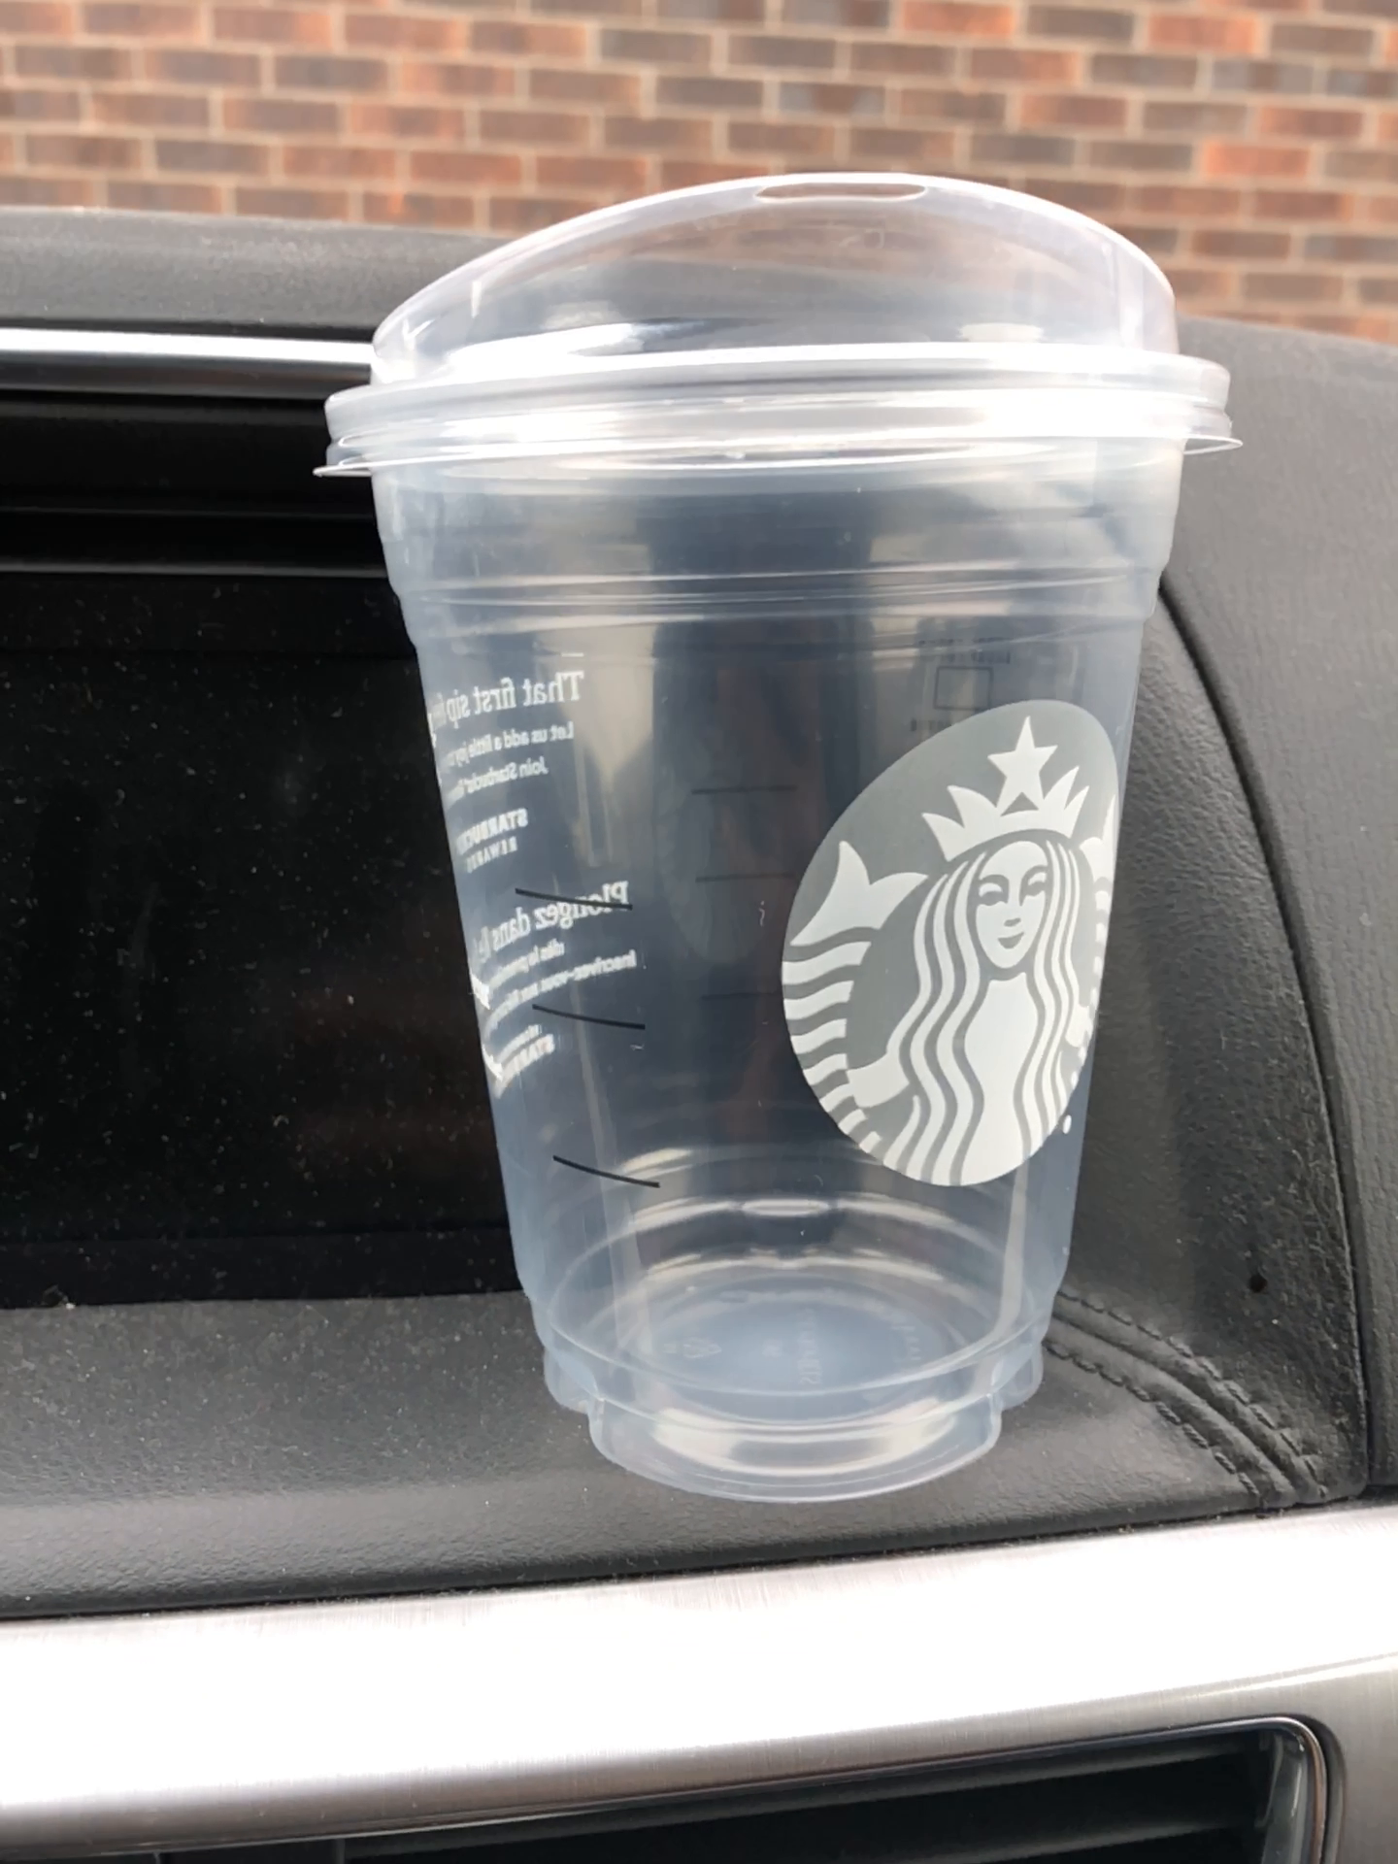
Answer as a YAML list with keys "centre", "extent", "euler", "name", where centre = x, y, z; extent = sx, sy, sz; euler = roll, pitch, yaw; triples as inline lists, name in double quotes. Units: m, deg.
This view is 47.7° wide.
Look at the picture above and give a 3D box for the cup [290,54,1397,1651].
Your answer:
- centre: [0.014, -0.014, 0.173]
  extent: [0.088, 0.125, 0.082]
  euler: [2, 19, -1]
  name: "cup"
